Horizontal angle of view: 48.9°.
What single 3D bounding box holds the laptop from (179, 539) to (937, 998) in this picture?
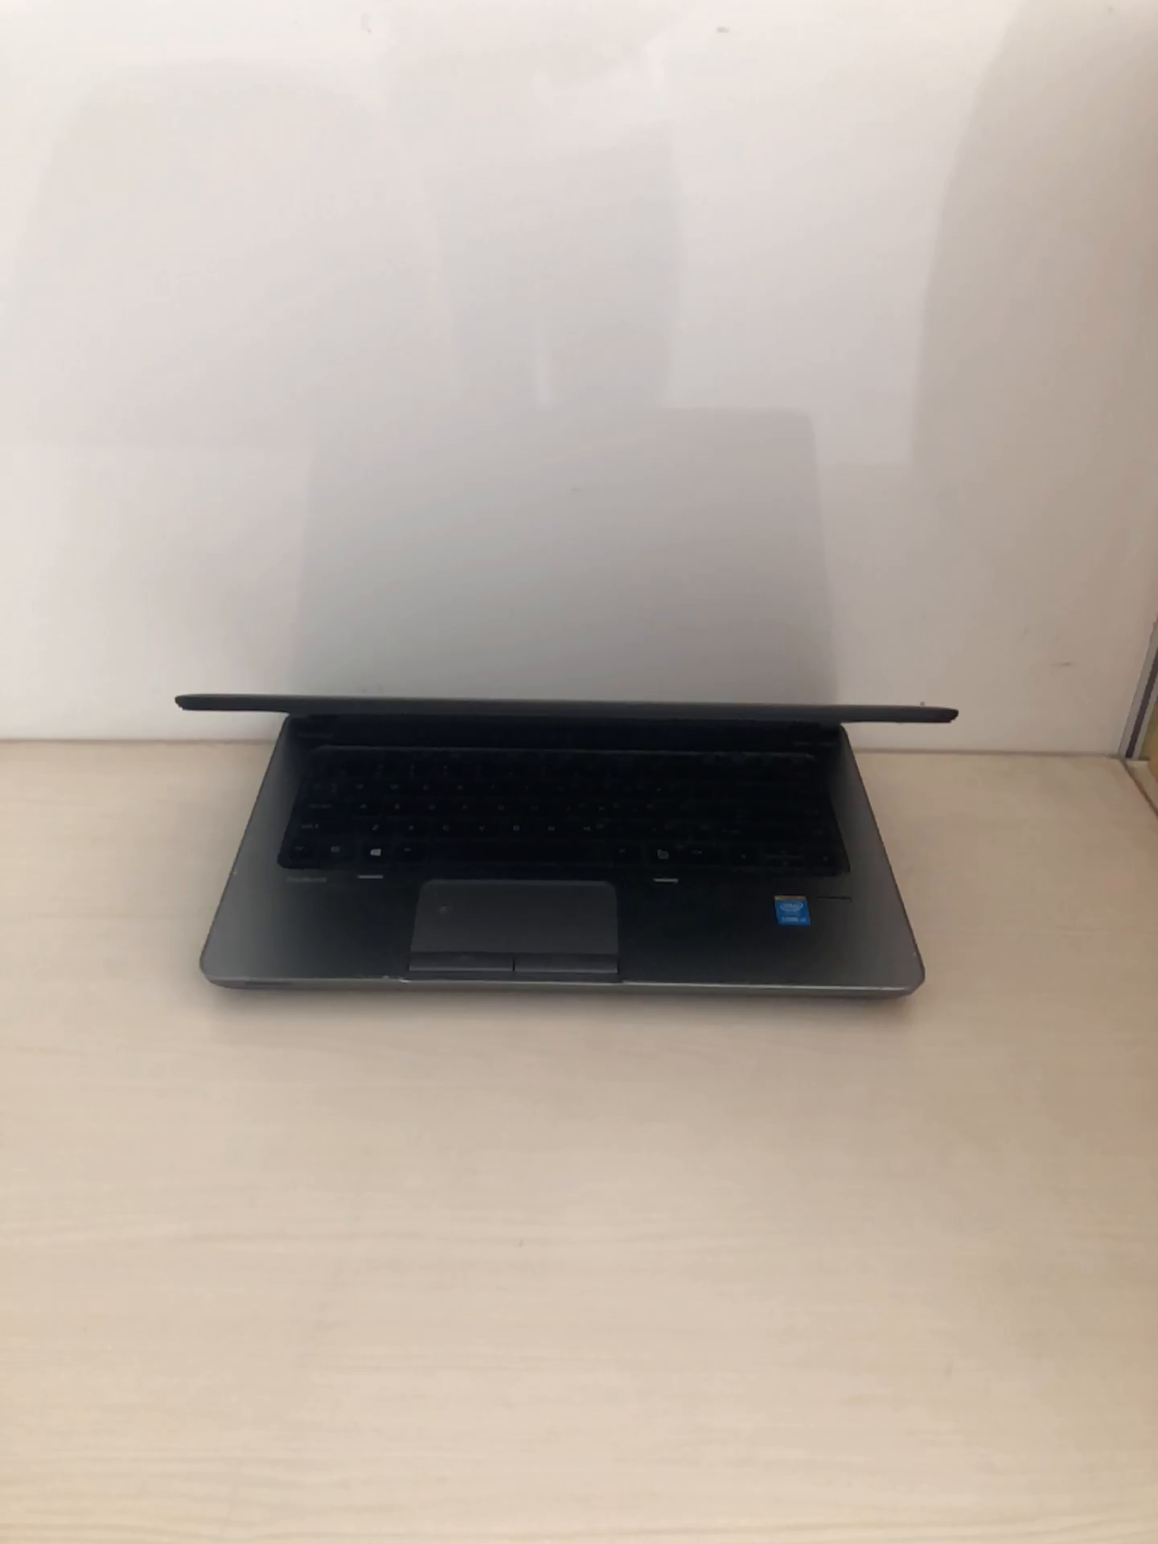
[{"bbox_3d":[-0.009,-0.011,0.658,0.319,0.118,0.221,2,35,-2],"label":"laptop"}]
